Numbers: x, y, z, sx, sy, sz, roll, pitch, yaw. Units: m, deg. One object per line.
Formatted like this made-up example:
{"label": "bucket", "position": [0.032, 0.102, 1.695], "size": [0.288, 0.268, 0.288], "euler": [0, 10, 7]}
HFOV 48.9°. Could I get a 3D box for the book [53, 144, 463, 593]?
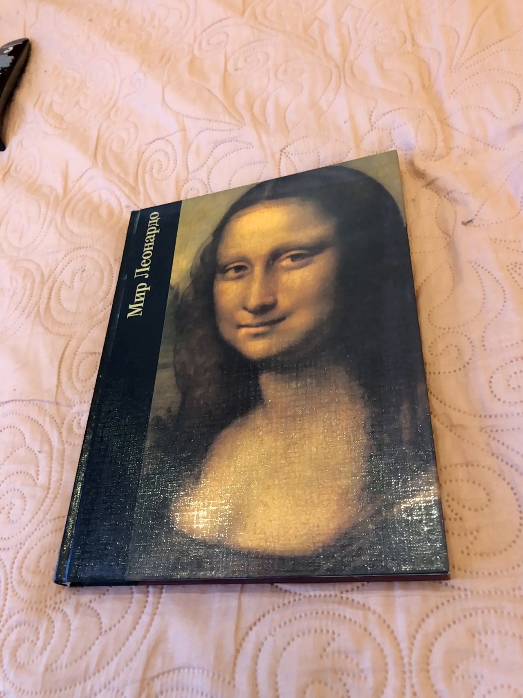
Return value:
{"label": "book", "position": [-0.006, 0.001, 0.361], "size": [0.210, 0.030, 0.274], "euler": [-8, 59, 16]}
